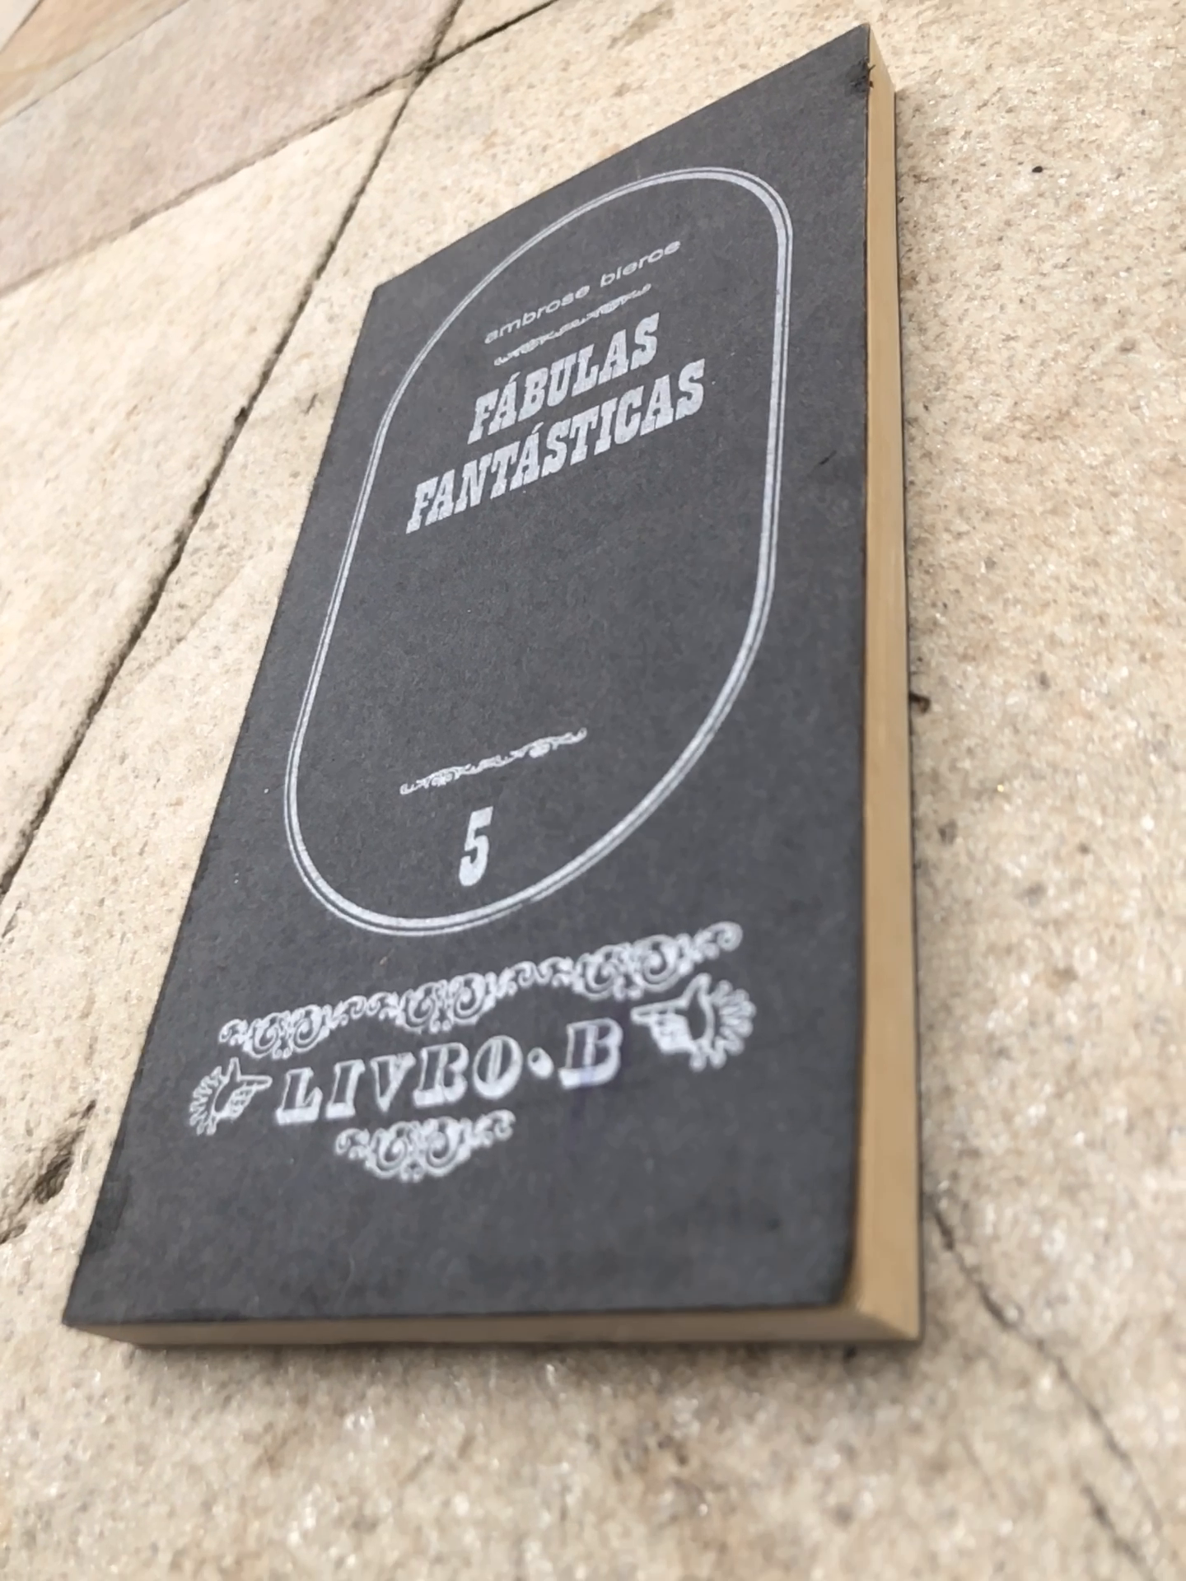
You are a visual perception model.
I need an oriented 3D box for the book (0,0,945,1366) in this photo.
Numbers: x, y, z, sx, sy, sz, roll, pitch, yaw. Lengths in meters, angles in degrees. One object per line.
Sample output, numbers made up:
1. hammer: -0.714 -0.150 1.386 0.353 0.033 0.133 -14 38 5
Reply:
1. book: -0.010 -0.023 0.169 0.105 0.013 0.176 -15 52 32
